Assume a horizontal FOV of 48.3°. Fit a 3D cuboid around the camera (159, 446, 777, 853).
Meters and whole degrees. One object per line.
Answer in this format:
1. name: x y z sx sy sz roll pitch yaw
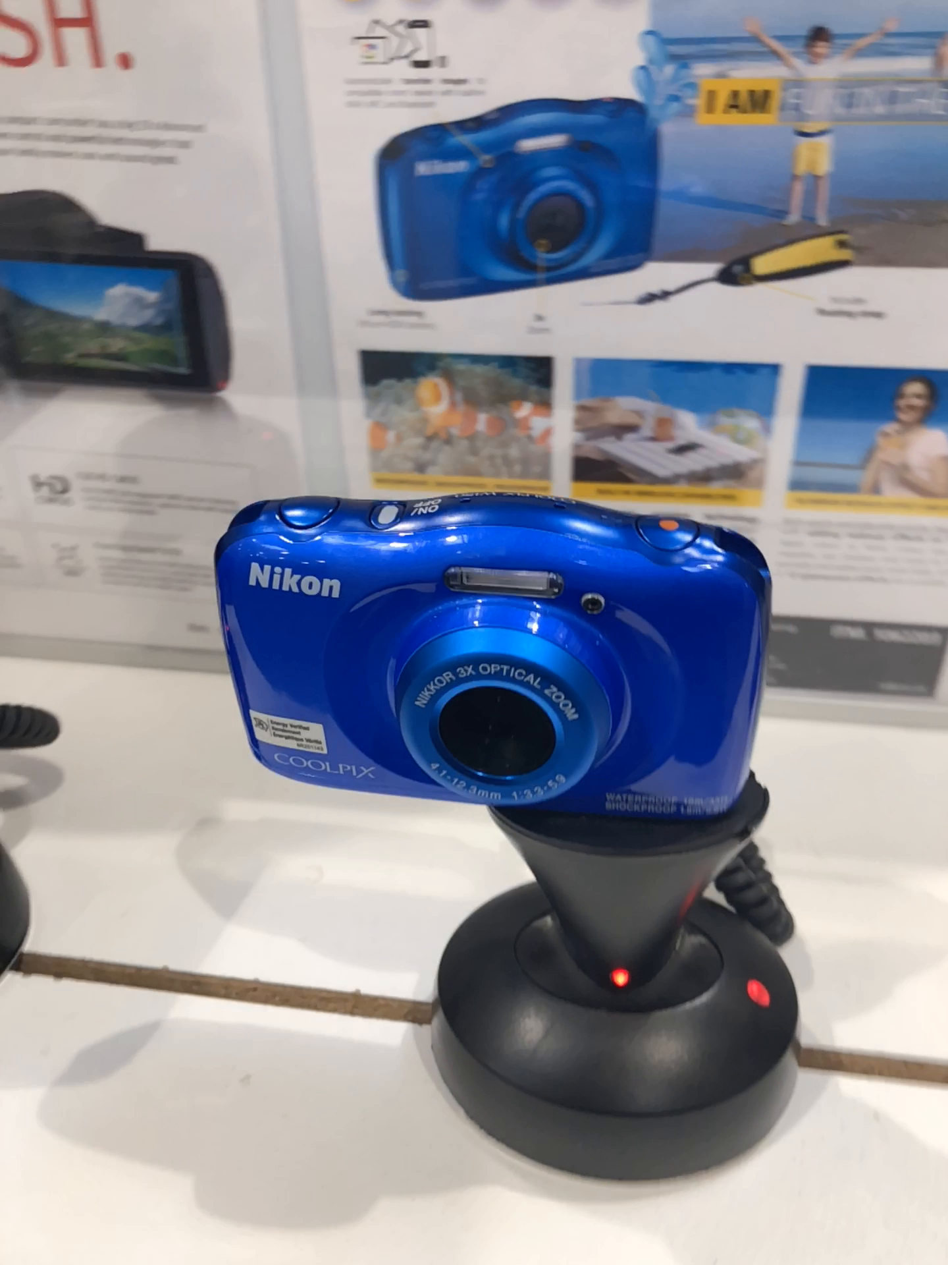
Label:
1. camera: 0.000 0.002 0.203 0.100 0.060 0.040 3 36 7
